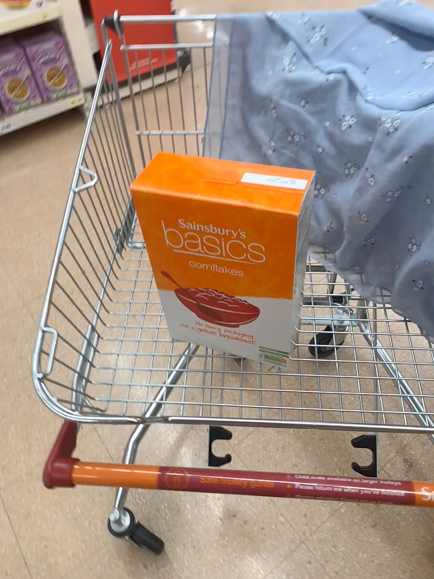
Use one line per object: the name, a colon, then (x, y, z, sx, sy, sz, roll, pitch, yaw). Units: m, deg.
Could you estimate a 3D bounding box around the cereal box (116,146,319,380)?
cereal box: (0.011, -0.022, 0.599, 0.210, 0.307, 0.081, 12, 49, 17)
